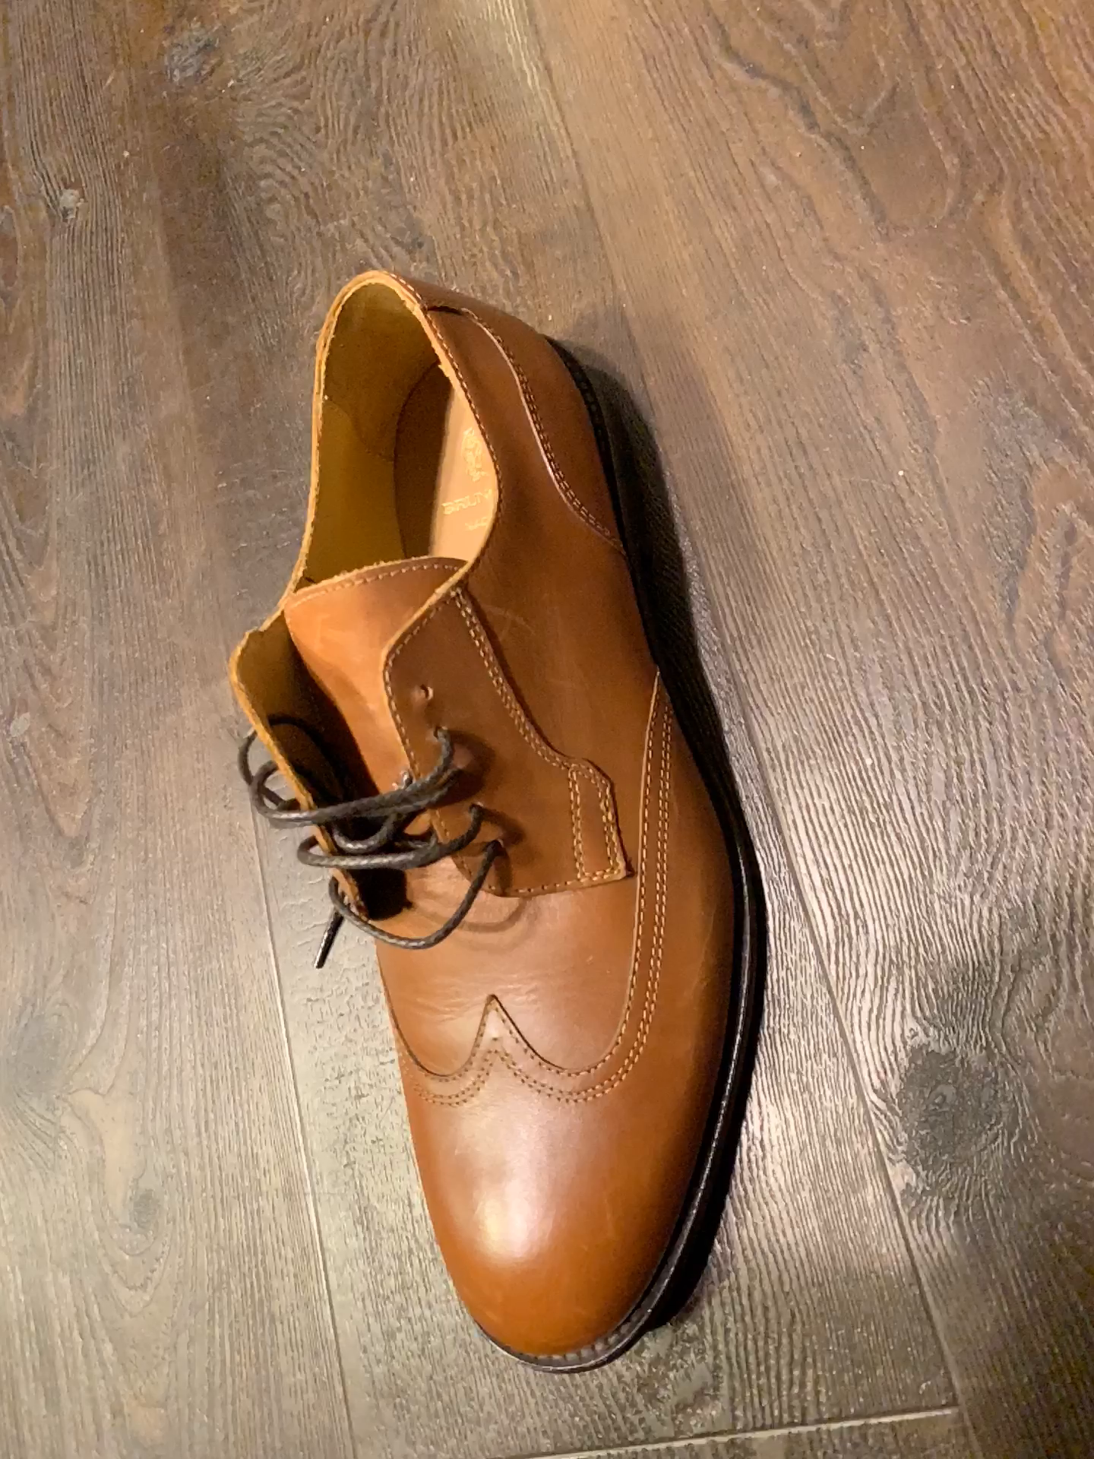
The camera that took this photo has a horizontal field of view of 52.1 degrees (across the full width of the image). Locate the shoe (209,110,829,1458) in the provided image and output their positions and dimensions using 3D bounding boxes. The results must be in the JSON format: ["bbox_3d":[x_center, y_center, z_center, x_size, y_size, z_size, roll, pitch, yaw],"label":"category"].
[{"bbox_3d":[-0.011,0.016,0.321,0.120,0.110,0.321,-10,75,23],"label":"shoe"}]
